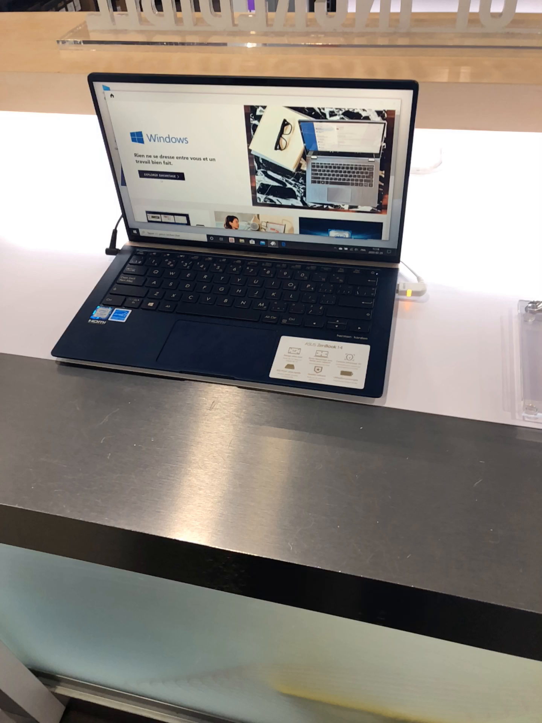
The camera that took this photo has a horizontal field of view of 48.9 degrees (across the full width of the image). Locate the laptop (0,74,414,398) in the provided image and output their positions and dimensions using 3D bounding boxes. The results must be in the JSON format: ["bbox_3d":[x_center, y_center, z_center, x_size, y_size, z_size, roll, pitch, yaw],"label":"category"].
[{"bbox_3d":[-0.044,-0.119,0.522,0.301,0.182,0.192,7,45,11],"label":"laptop"}]
